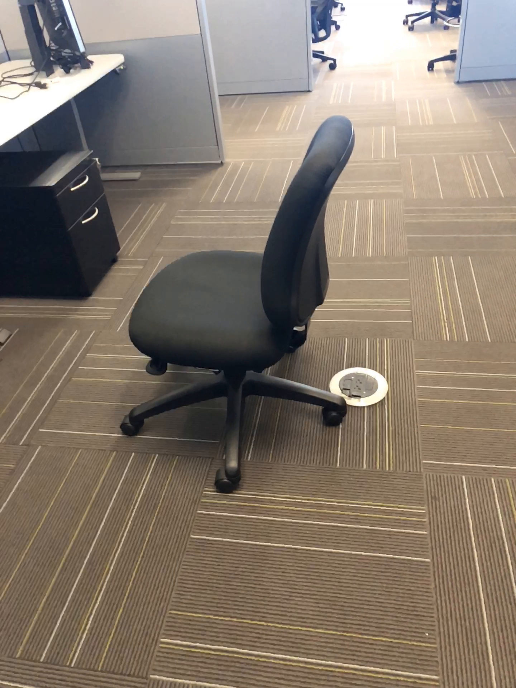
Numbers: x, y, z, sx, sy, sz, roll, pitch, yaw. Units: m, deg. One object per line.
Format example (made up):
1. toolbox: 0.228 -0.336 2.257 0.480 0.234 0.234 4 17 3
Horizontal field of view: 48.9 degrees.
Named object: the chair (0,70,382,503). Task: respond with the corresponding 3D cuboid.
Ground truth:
1. chair: -0.072 -0.176 1.555 0.760 0.846 0.774 1 38 10
